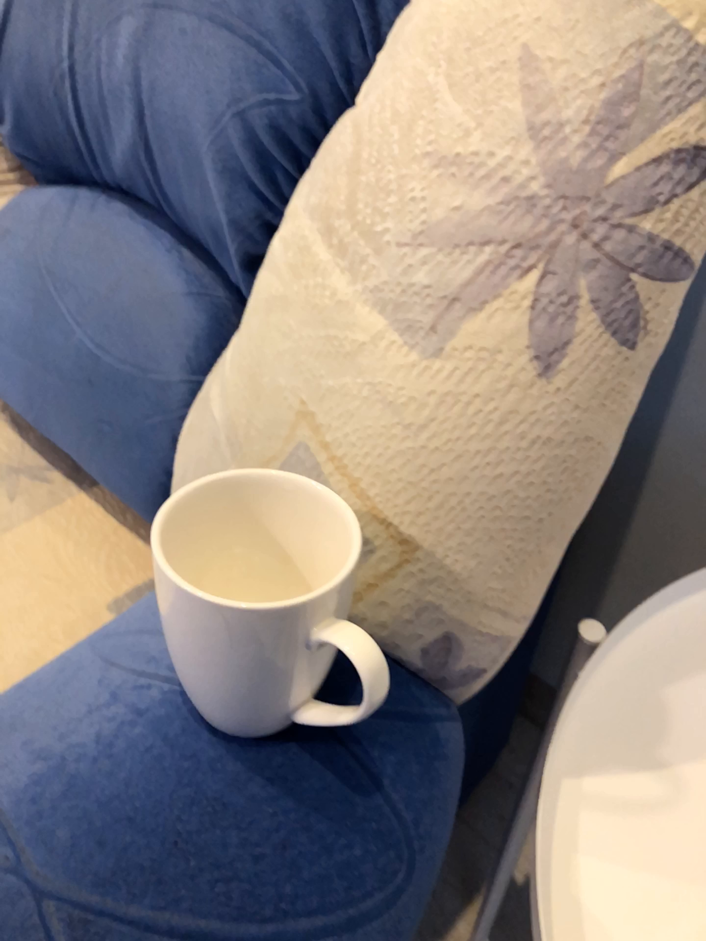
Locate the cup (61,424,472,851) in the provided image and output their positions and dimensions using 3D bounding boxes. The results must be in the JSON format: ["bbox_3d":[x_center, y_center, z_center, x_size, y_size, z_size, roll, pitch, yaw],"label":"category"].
[{"bbox_3d":[-0.030,0.054,0.284,0.110,0.079,0.080,26,45,25],"label":"cup"}]
